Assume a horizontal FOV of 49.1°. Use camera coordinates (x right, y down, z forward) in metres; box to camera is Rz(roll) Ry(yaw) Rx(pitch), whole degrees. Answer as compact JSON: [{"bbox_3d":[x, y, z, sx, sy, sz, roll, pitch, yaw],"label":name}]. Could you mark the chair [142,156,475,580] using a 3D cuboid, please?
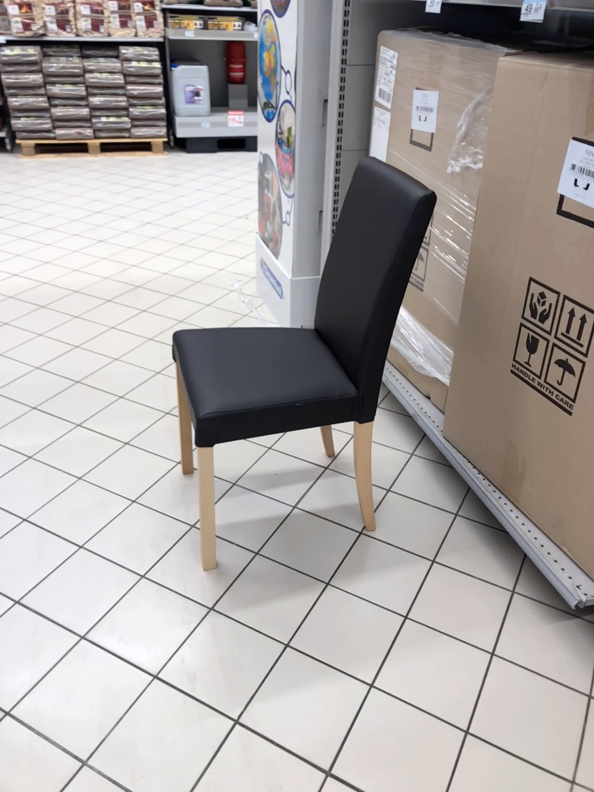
[{"bbox_3d":[-0.013,-0.084,1.592,0.591,0.855,0.452,-8,32,-16],"label":"chair"}]
